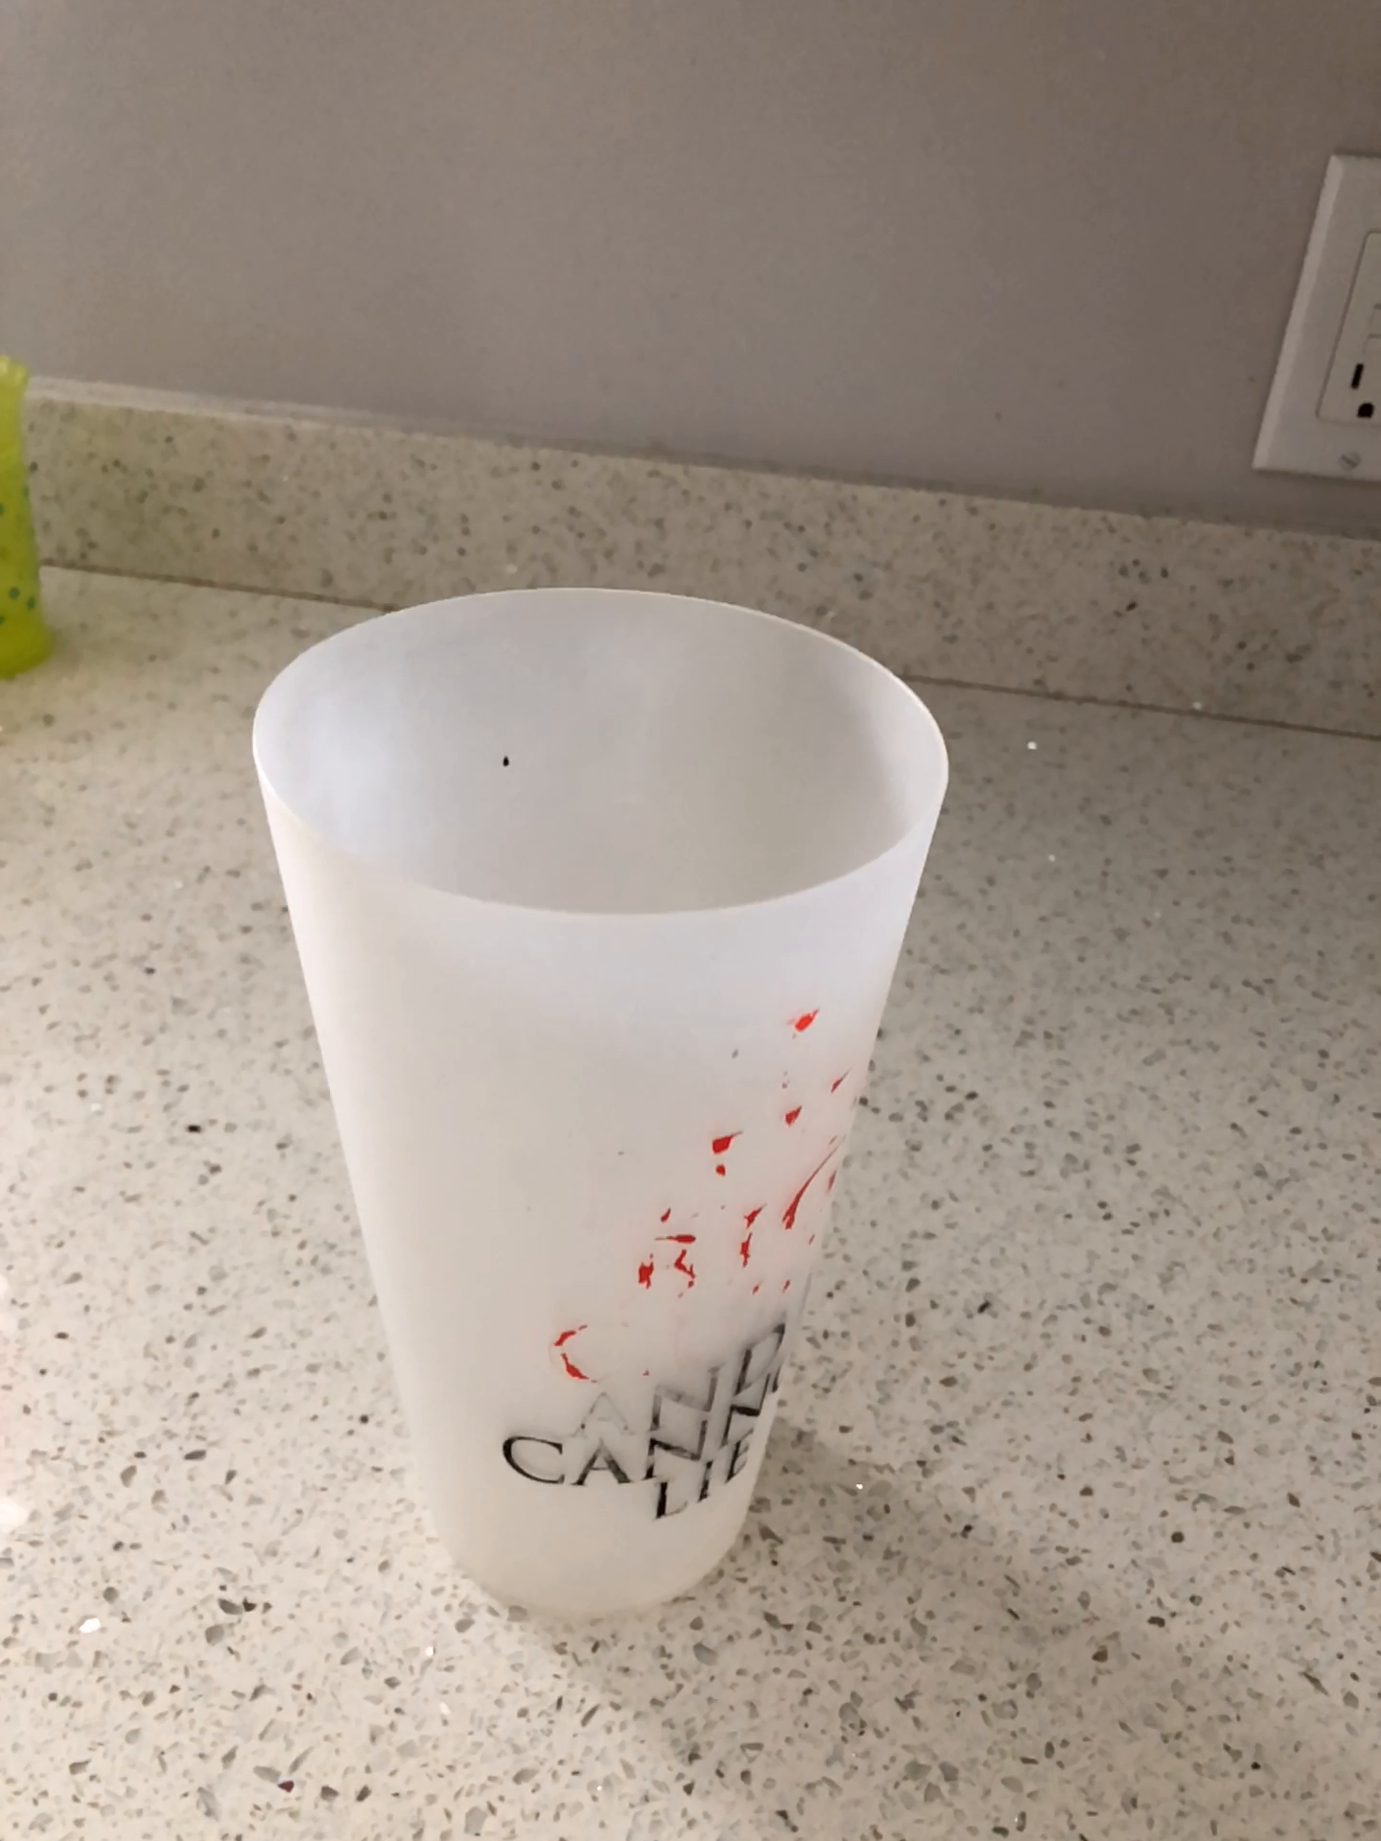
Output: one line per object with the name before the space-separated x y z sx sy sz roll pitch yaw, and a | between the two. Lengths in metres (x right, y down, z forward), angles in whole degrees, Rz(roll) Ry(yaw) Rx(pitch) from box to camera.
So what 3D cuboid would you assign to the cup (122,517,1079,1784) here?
cup | -0.017 0.036 0.260 0.096 0.166 0.094 2 34 -1
